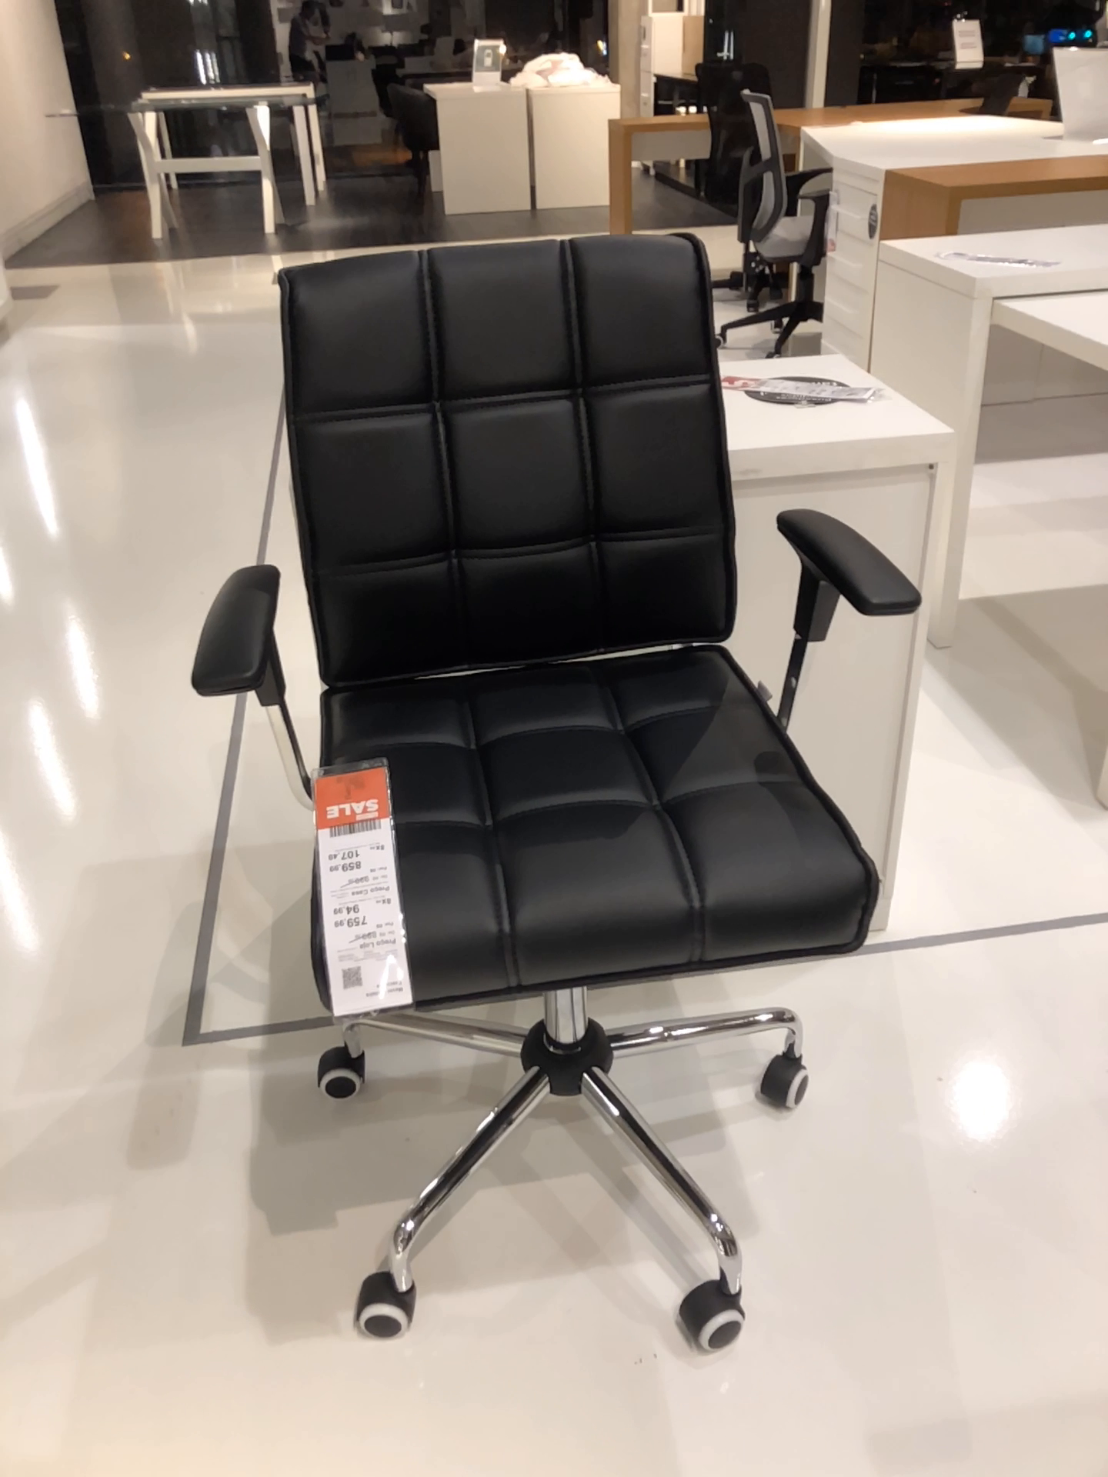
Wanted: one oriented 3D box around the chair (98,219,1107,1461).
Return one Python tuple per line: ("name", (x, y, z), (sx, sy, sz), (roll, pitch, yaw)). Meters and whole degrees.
("chair", (0.002, 0.033, 1.236), (0.620, 0.913, 0.745), (-8, 31, -9))
